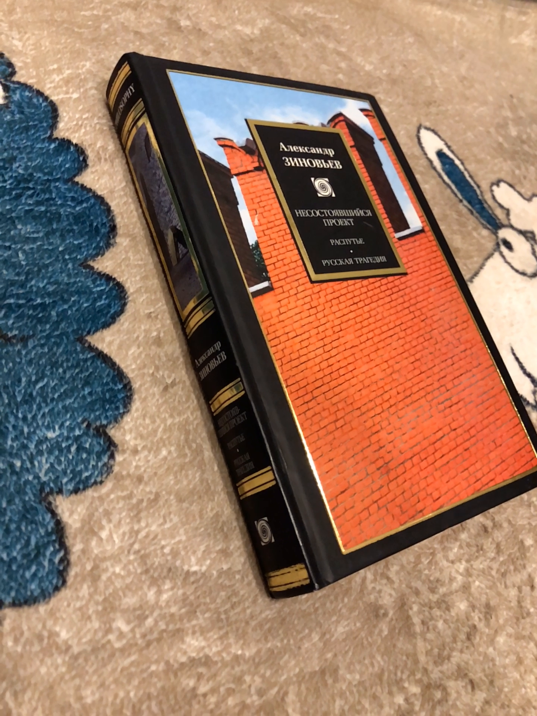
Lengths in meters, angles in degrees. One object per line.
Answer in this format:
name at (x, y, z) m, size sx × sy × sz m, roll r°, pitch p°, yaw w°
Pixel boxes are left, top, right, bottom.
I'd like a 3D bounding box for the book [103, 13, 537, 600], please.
book at (0.031, -0.034, 0.246) m, size 0.141 × 0.040 × 0.210 m, roll -8°, pitch 69°, yaw -35°
